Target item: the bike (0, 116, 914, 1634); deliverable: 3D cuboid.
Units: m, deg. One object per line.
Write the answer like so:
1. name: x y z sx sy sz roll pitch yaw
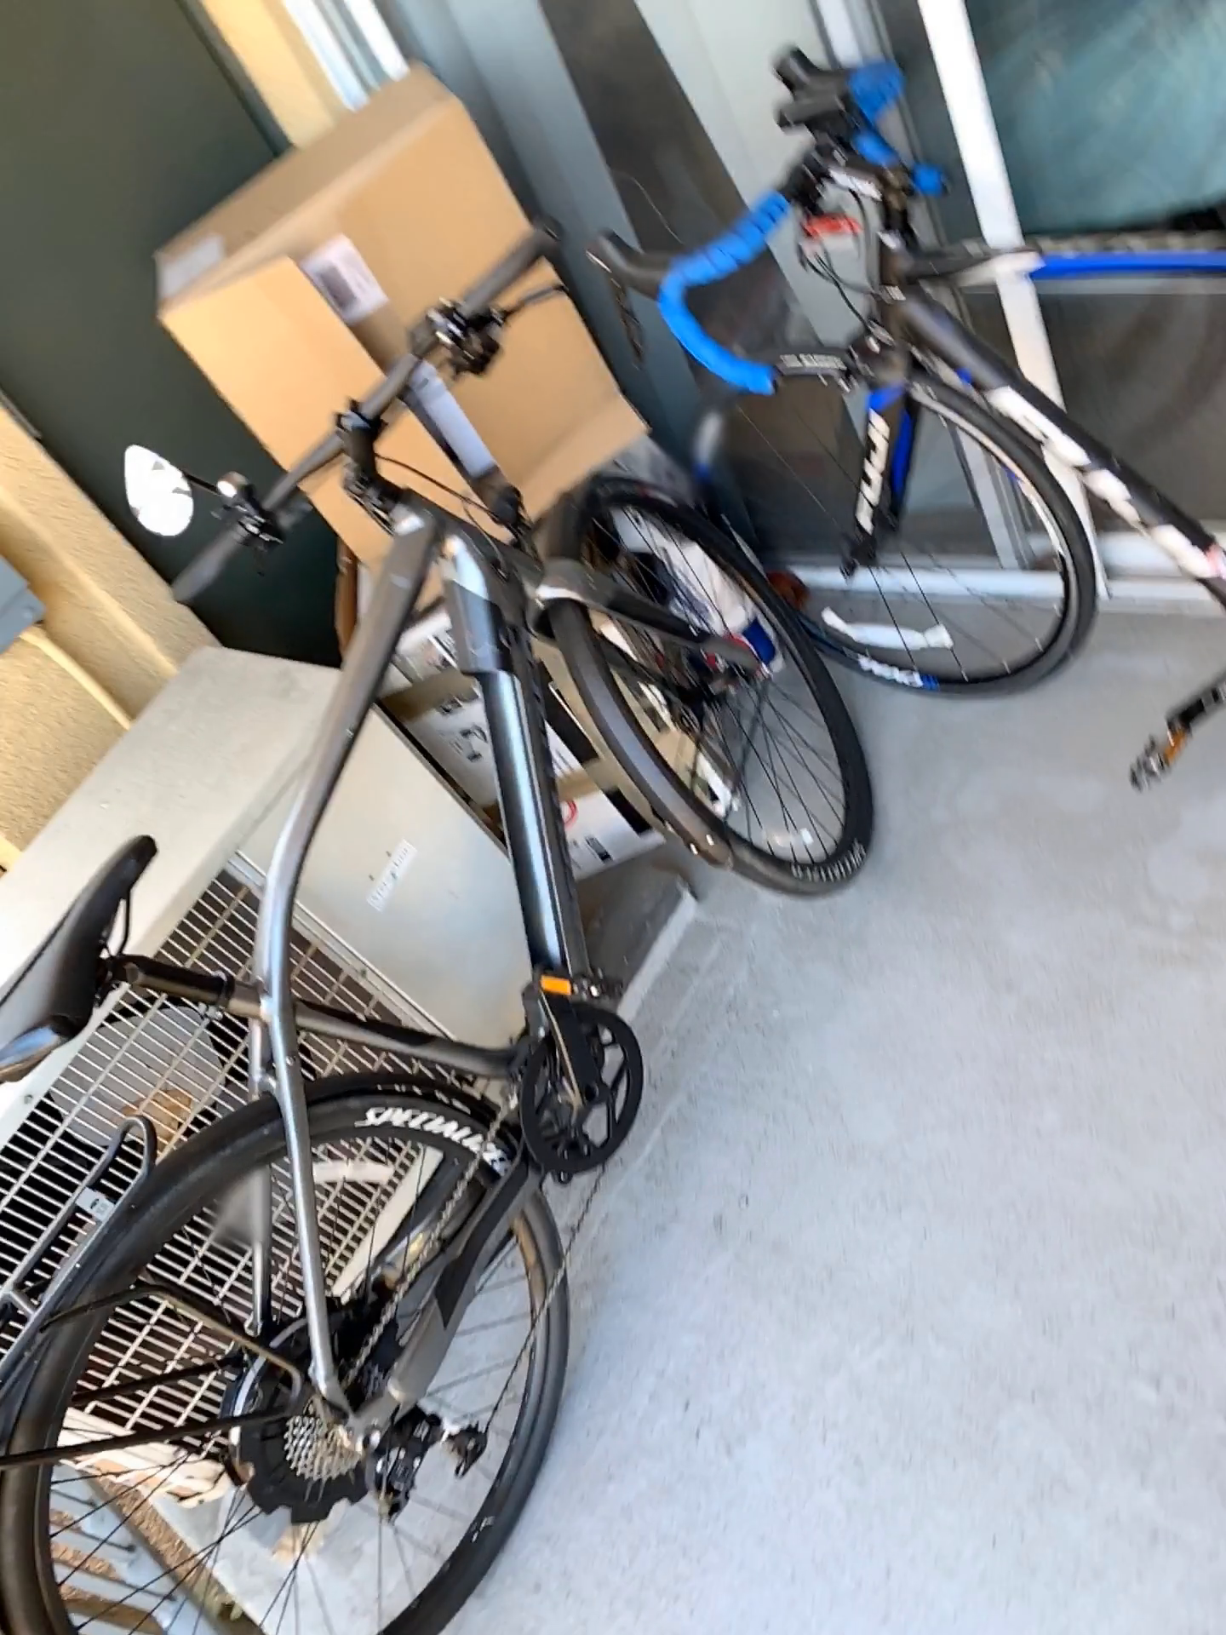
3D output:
1. bike: -0.295 0.096 1.501 0.626 0.971 1.580 3 53 37

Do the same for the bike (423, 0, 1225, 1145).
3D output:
1. bike: 0.633 -0.369 1.310 1.512 0.932 0.362 21 66 41
